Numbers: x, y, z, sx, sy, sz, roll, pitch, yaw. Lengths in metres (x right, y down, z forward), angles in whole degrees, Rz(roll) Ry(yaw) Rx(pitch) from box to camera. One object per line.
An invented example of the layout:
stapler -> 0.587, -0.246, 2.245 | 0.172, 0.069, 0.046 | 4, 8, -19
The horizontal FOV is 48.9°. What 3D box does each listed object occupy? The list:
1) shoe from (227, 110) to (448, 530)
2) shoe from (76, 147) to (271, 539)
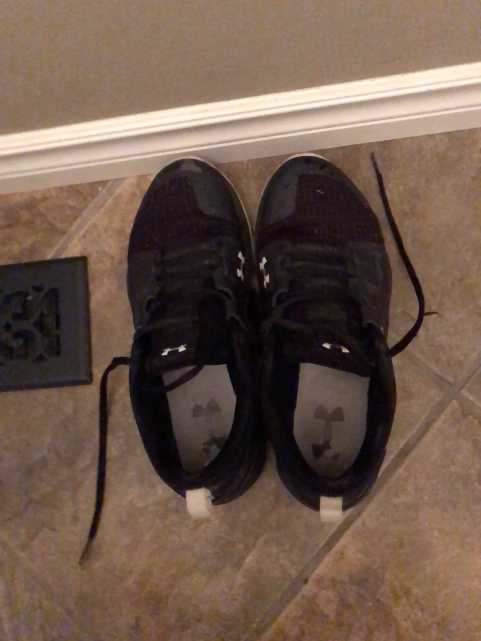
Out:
shoe -> 0.061, 0.002, 0.373 | 0.110, 0.100, 0.250 | -5, 82, 7
shoe -> -0.046, 0.017, 0.396 | 0.110, 0.100, 0.250 | -5, 82, 7
